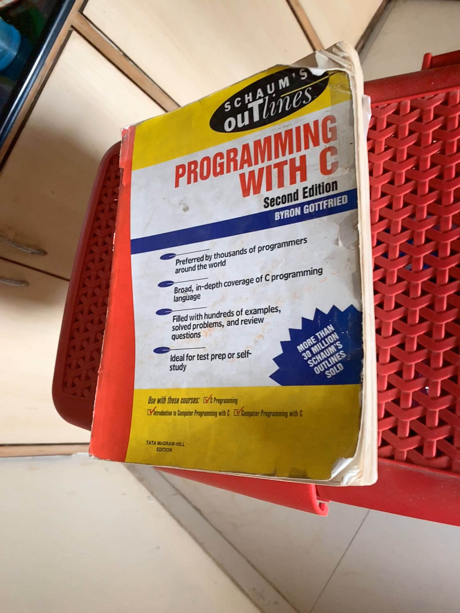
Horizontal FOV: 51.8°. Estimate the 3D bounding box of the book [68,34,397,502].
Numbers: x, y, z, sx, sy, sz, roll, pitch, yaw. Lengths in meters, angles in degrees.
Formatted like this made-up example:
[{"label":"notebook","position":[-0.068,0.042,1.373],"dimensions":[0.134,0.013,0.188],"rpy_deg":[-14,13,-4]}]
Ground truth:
[{"label":"book","position":[-0.003,-0.021,0.314],"dimensions":[0.201,0.050,0.250],"rpy_deg":[-6,73,32]}]
